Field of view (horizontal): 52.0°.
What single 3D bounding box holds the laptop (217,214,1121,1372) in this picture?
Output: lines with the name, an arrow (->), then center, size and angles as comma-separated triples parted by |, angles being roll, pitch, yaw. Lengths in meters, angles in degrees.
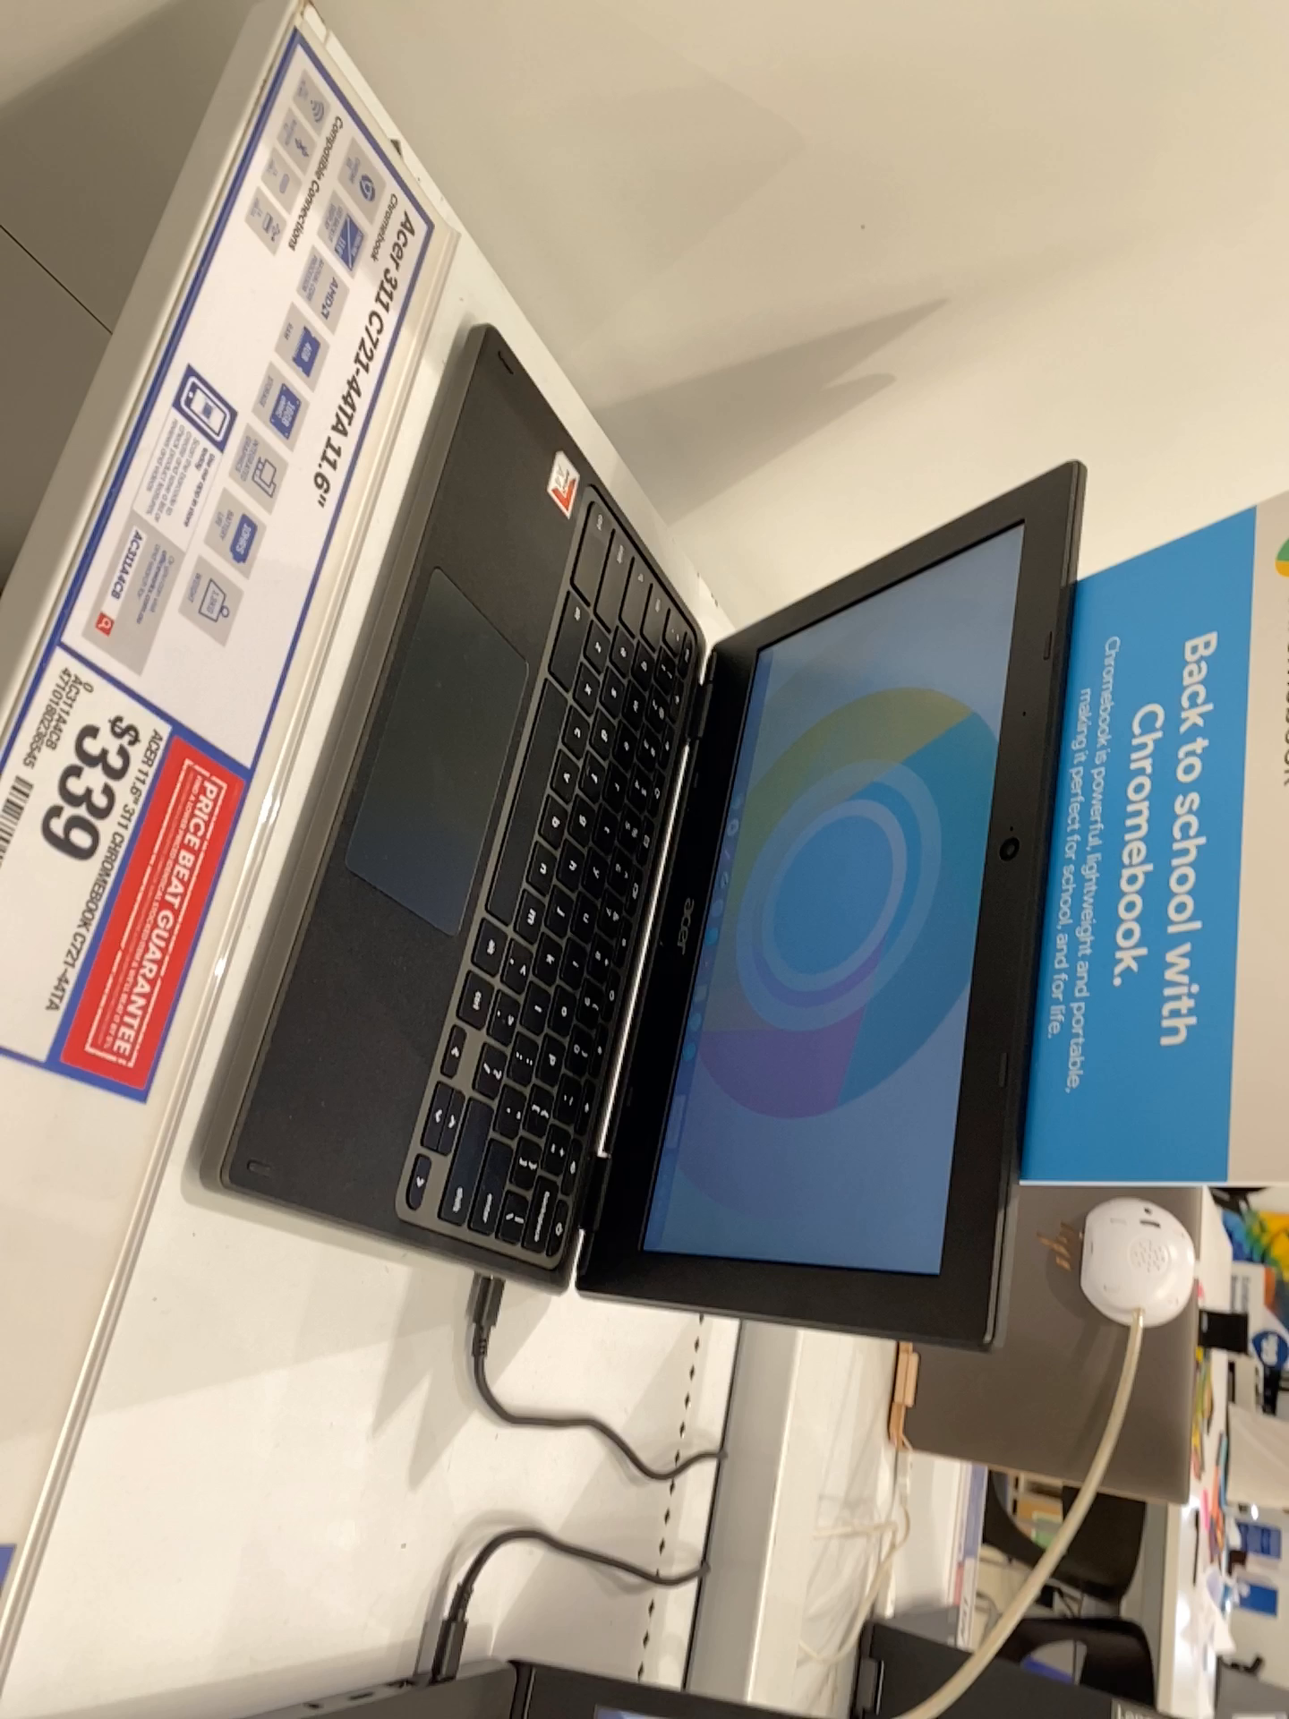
laptop -> 0.040, -0.008, 0.438 | 0.202, 0.180, 0.289 | 44, 52, -54
